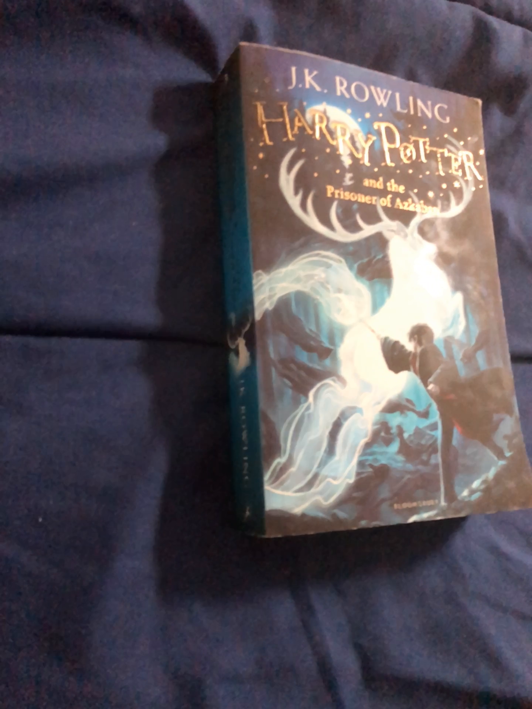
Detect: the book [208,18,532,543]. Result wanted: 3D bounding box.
[{"bbox_3d":[0.047,-0.029,0.264,0.134,0.045,0.200,1,81,-24],"label":"book"}]
